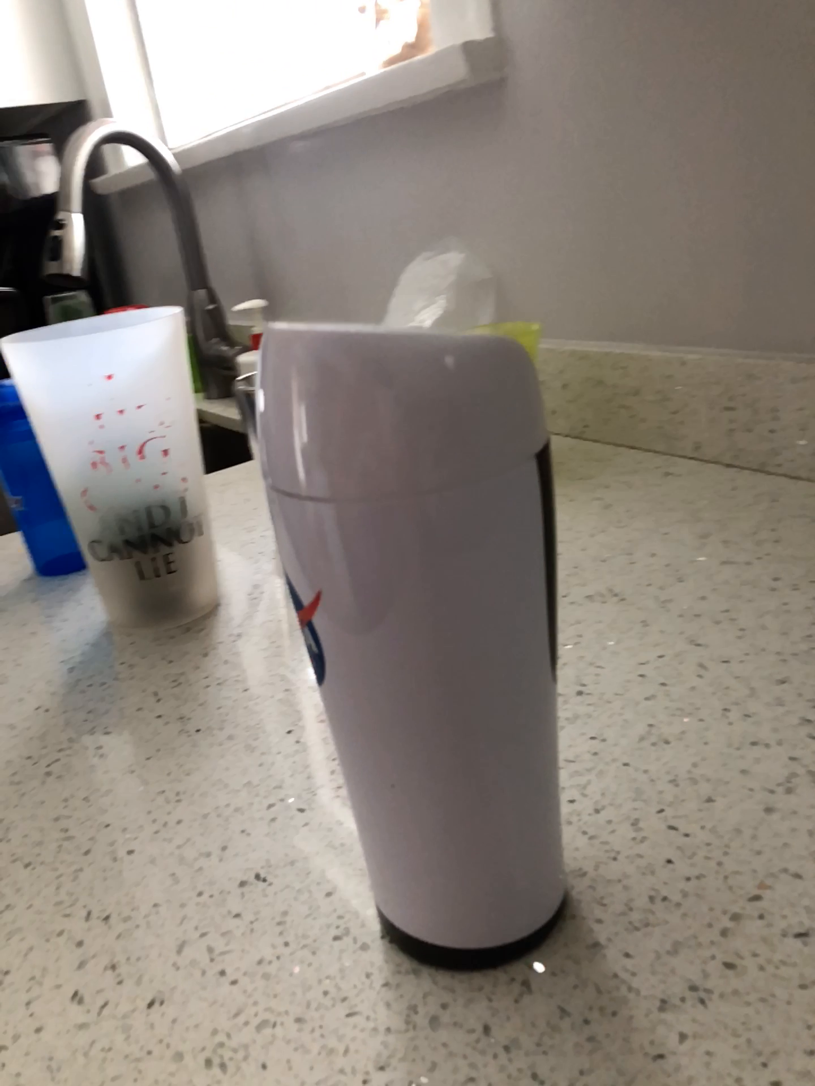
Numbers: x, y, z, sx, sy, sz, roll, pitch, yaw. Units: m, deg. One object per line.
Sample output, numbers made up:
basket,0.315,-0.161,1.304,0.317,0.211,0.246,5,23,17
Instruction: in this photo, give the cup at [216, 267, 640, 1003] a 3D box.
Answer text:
cup,0.008,0.023,0.257,0.080,0.182,0.078,-8,20,3
